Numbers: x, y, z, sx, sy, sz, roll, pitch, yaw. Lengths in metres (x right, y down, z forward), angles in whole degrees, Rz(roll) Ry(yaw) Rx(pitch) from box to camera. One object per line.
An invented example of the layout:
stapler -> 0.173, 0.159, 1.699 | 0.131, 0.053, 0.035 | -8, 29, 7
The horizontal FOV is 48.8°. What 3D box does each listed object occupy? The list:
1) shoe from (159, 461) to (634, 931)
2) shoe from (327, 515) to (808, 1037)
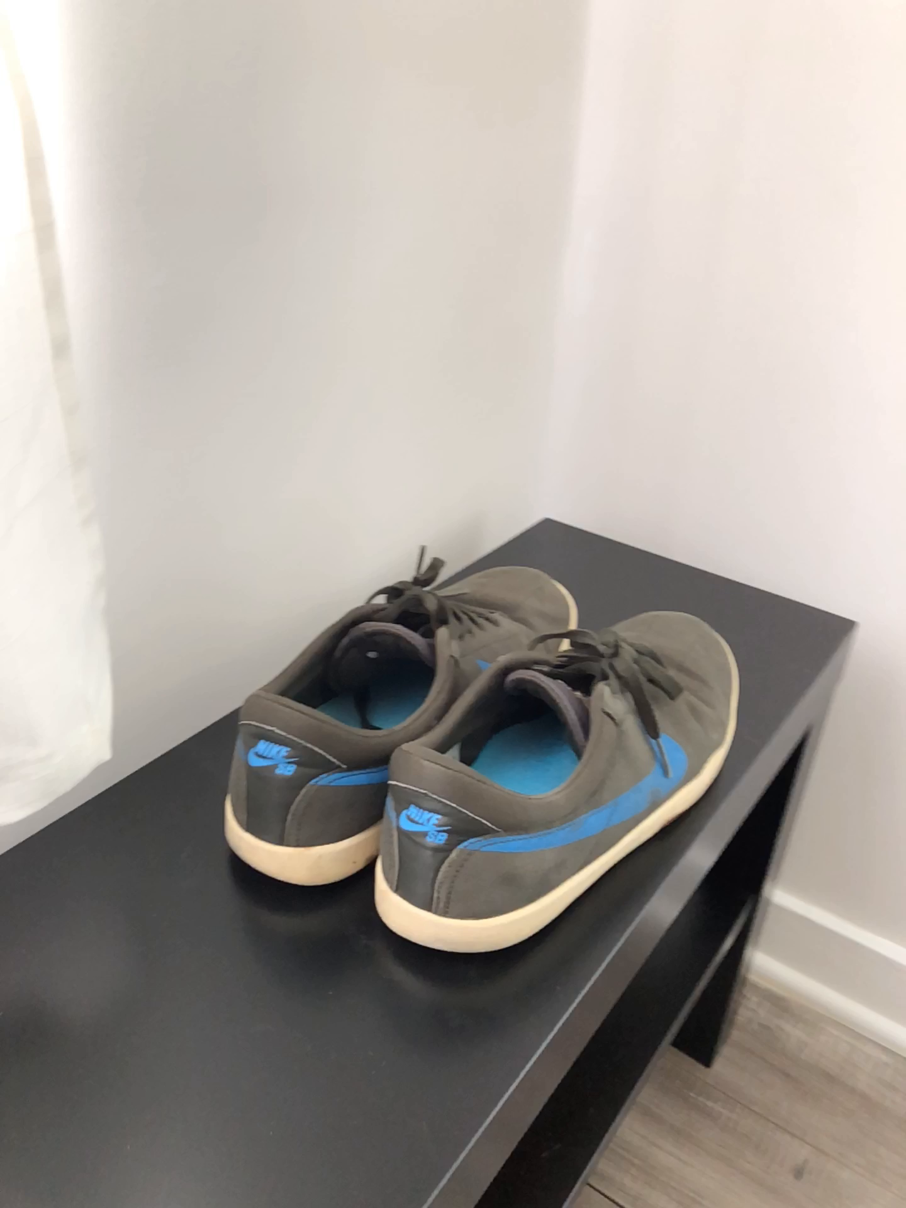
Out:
shoe -> -0.013, 0.026, 0.538 | 0.100, 0.110, 0.281 | 20, 33, 26
shoe -> 0.070, 0.061, 0.506 | 0.100, 0.110, 0.280 | 23, 35, 30
